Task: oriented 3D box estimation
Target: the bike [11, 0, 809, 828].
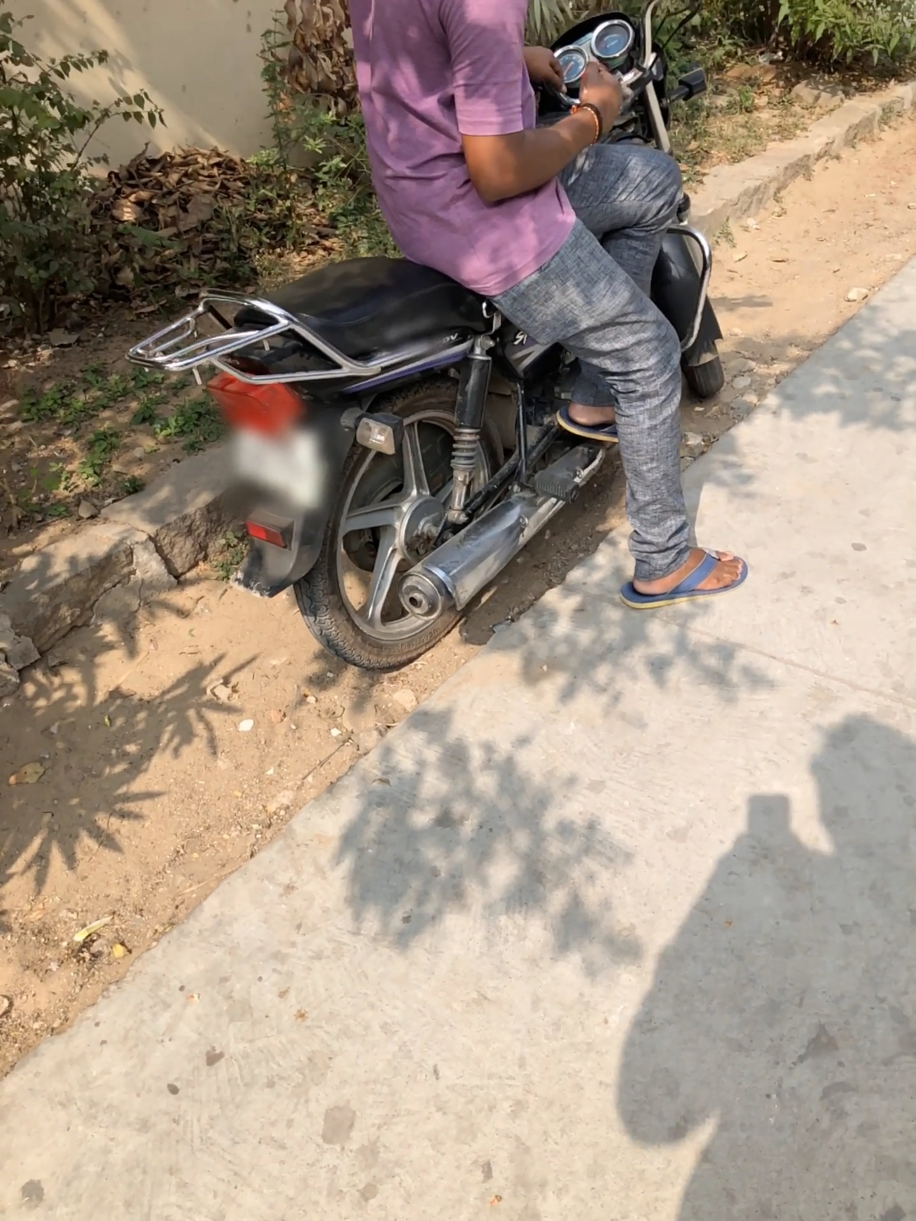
[{"bbox_3d":[0.097,-0.761,2.309,0.769,1.294,1.770,17,49,26],"label":"bike"}]
